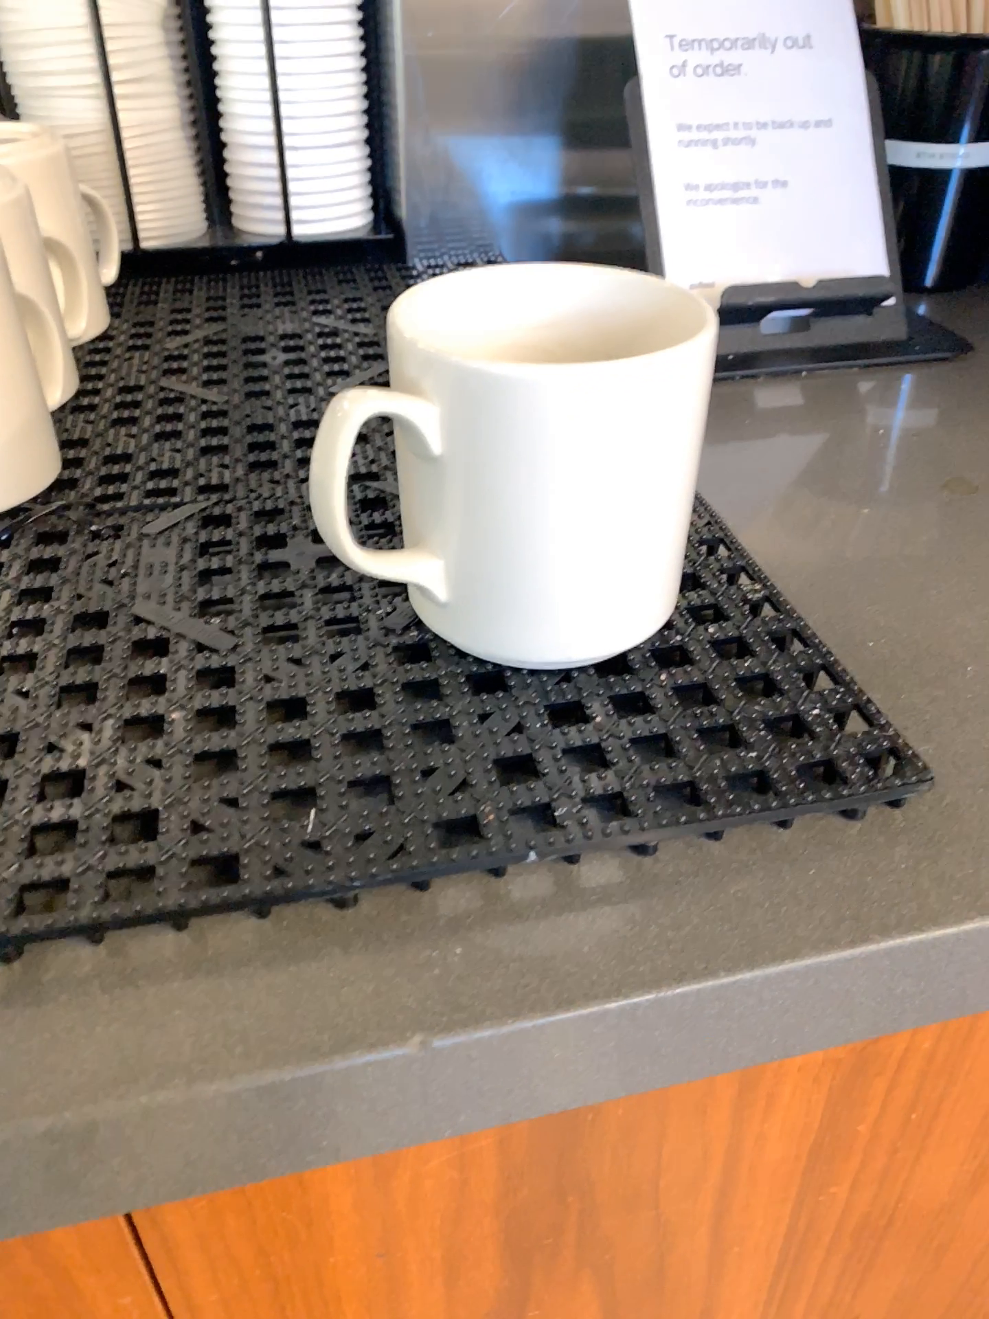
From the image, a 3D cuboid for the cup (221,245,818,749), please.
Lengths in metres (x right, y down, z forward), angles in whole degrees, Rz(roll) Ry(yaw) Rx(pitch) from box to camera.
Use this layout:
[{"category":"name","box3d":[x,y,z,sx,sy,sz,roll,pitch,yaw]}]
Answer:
[{"category":"cup","box3d":[0.006,-0.053,0.281,0.120,0.080,0.090,-23,41,-28]}]
